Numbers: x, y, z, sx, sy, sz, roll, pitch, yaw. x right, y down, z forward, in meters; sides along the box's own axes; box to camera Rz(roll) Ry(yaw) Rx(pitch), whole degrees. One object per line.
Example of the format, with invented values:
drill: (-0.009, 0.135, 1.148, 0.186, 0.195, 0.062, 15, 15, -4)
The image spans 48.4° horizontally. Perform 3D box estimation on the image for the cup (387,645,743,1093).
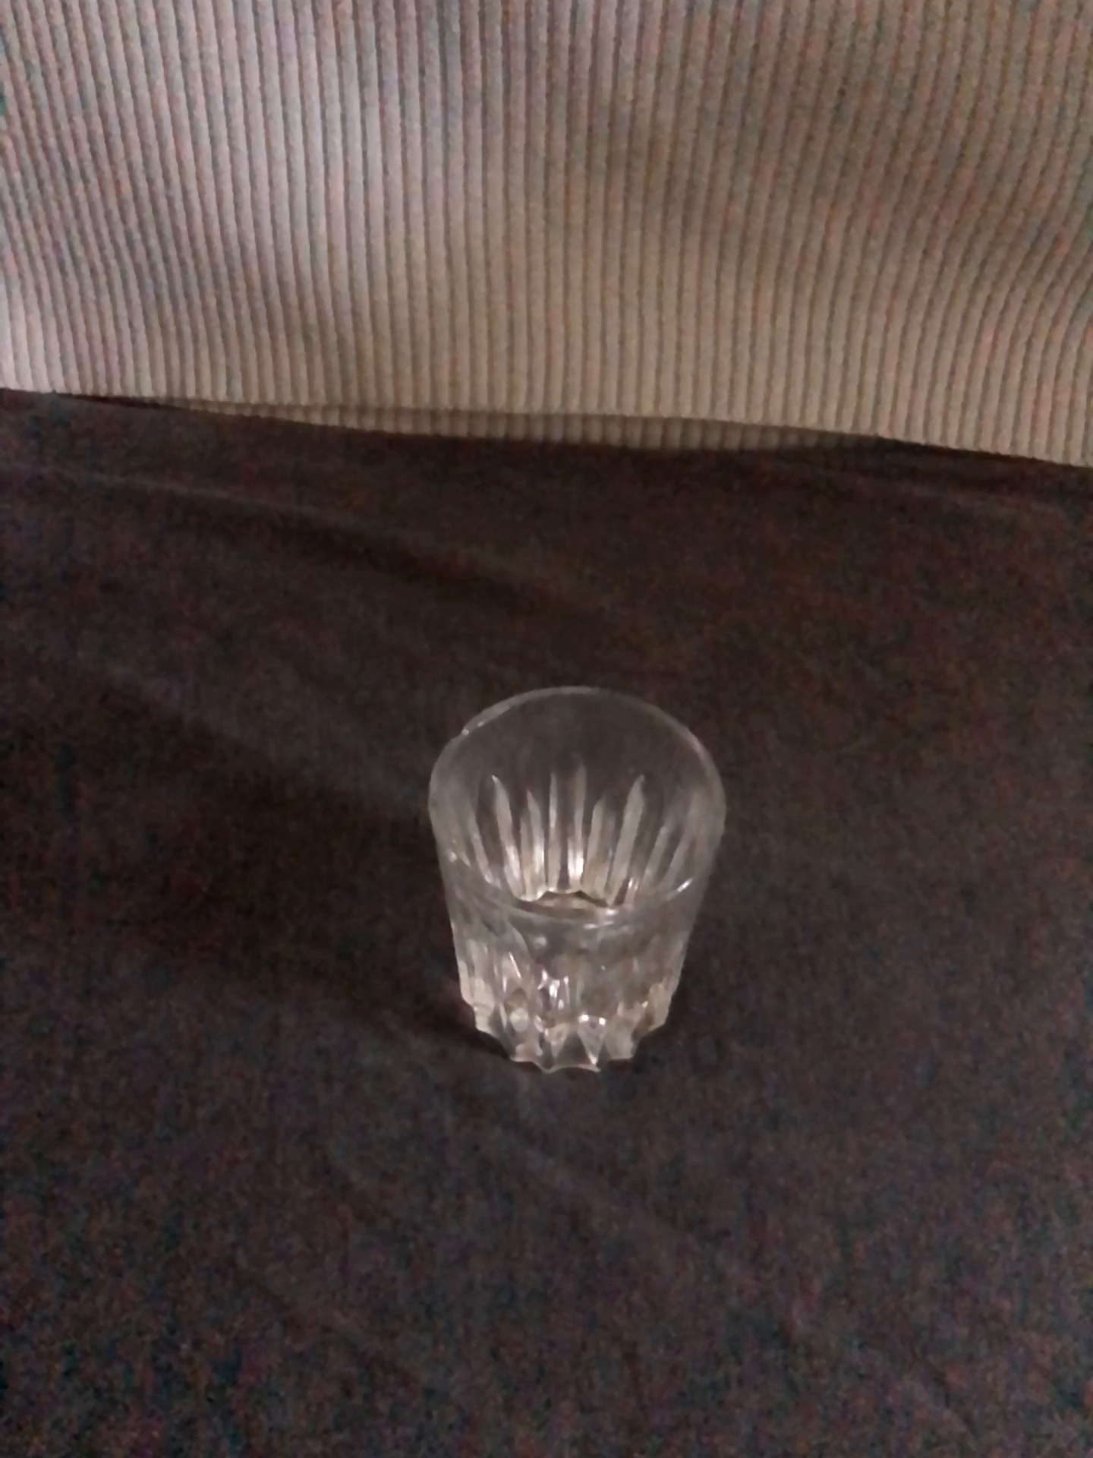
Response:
cup: (0.004, 0.032, 0.262, 0.059, 0.078, 0.048, 11, 48, 7)
